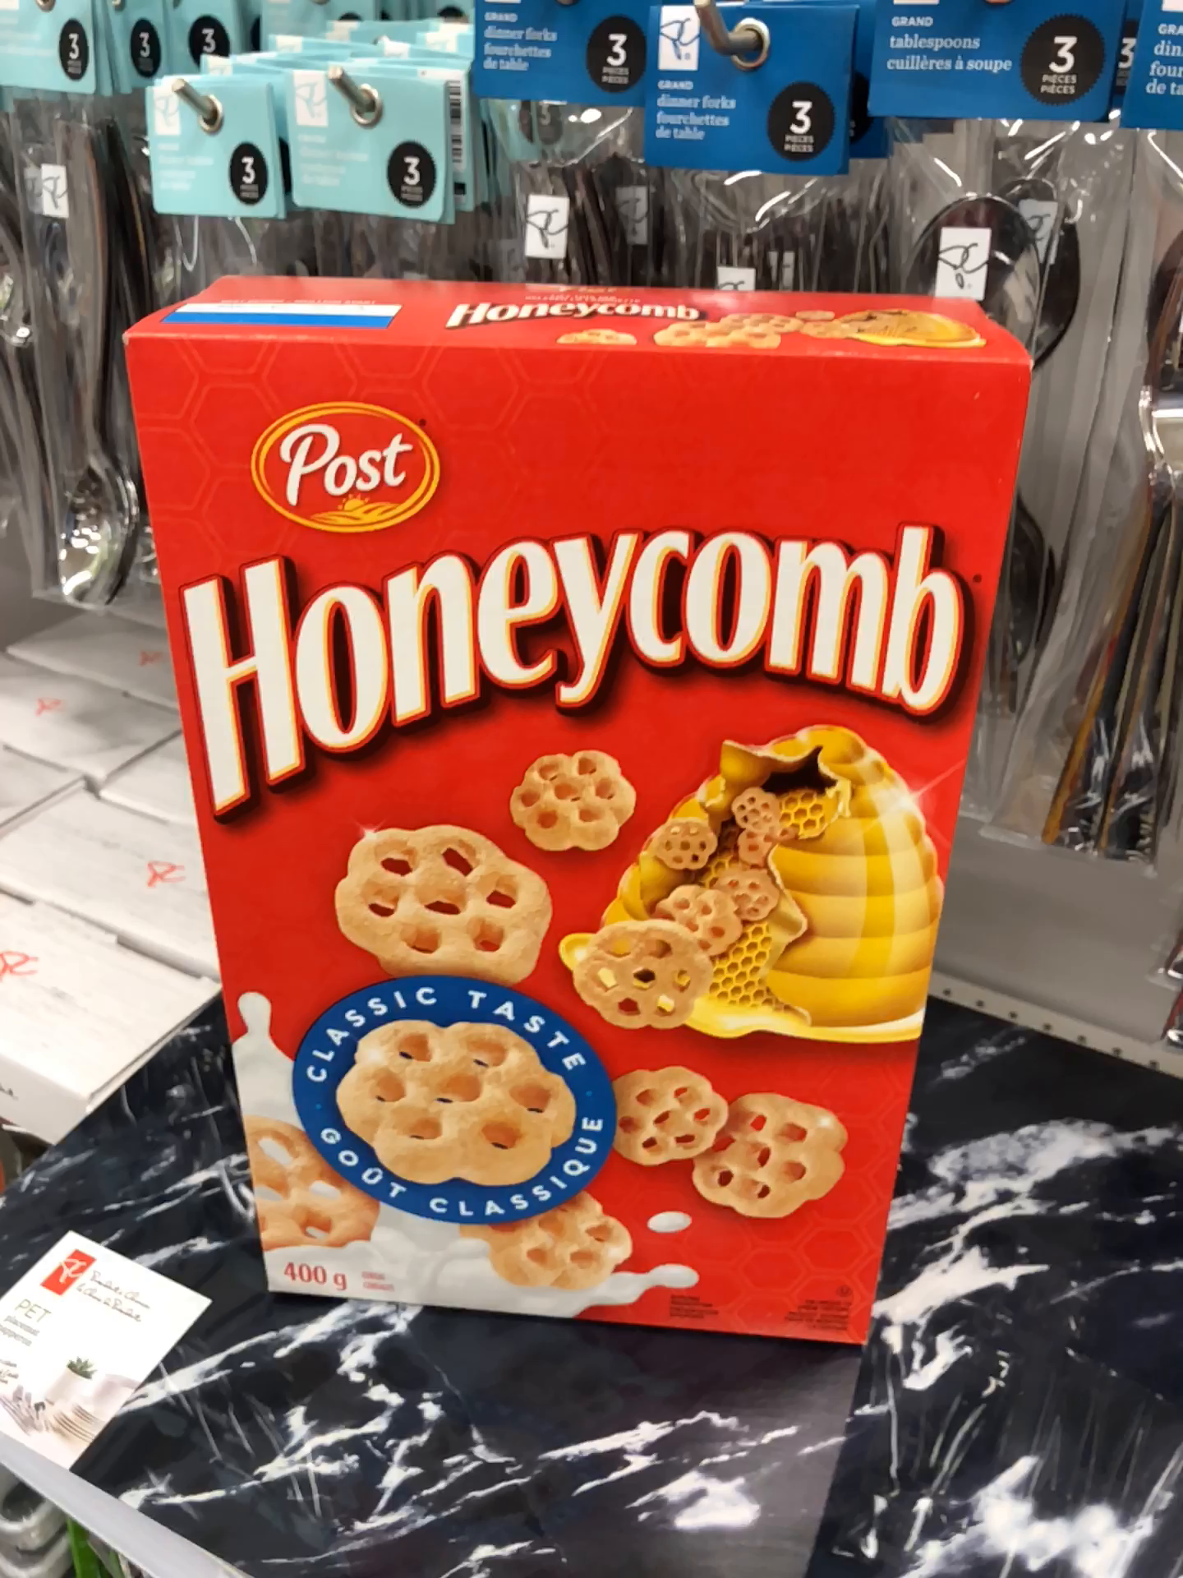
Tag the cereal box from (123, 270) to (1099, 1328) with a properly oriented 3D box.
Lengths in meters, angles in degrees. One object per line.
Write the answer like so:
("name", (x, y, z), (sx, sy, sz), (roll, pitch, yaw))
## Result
("cereal box", (0.003, 0.016, 0.385), (0.210, 0.299, 0.070), (3, 29, 5))
